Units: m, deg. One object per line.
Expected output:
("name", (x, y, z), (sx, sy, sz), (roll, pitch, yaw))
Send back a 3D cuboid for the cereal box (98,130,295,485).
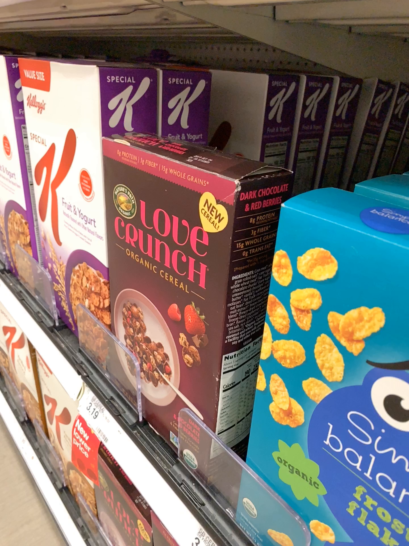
("cereal box", (-0.022, 0.023, 0.356), (0.050, 0.249, 0.161), (-18, 33, -37))
